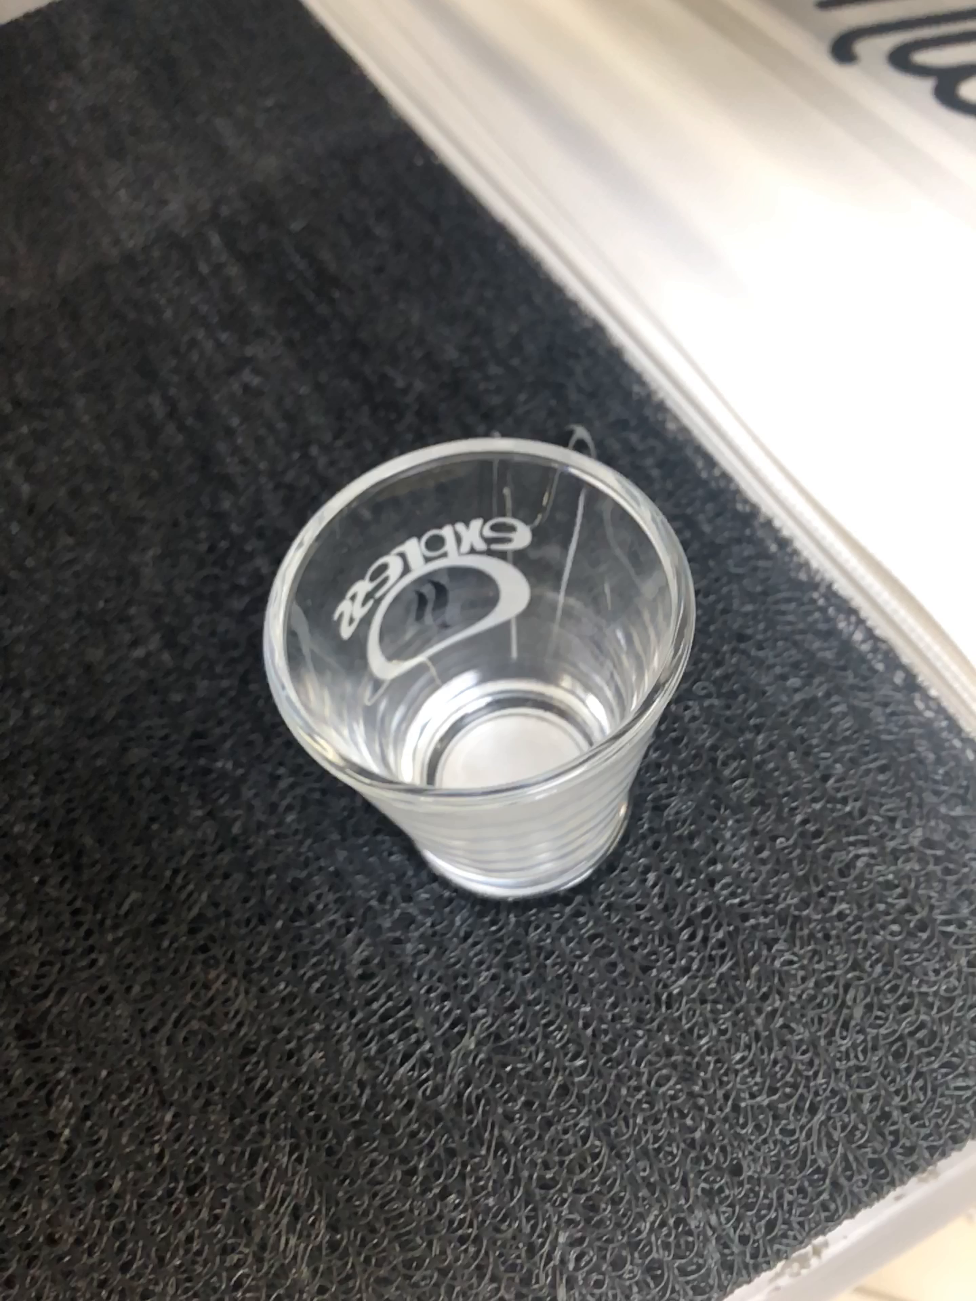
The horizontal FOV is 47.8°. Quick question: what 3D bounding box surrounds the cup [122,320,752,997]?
[{"bbox_3d":[0.001,0.000,0.181,0.073,0.059,0.087,6,60,14],"label":"cup"}]
